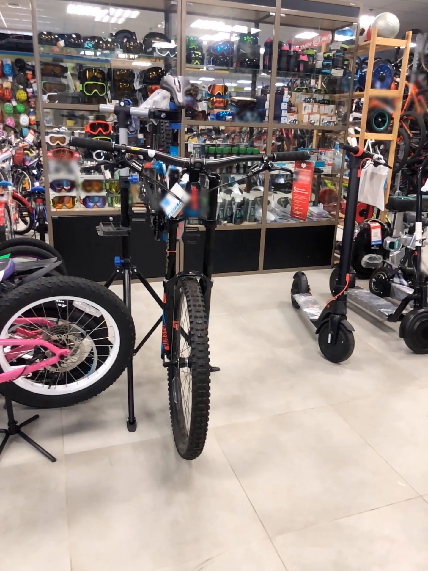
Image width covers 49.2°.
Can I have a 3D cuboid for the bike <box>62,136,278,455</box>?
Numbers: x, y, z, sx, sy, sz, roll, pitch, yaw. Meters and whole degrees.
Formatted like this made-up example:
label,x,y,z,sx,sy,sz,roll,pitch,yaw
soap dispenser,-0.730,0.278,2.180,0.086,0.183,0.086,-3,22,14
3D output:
label,x,y,z,sx,sy,sz,roll,pitch,yaw
bike,-0.214,-0.144,1.984,0.659,0.181,1.531,0,44,-11
